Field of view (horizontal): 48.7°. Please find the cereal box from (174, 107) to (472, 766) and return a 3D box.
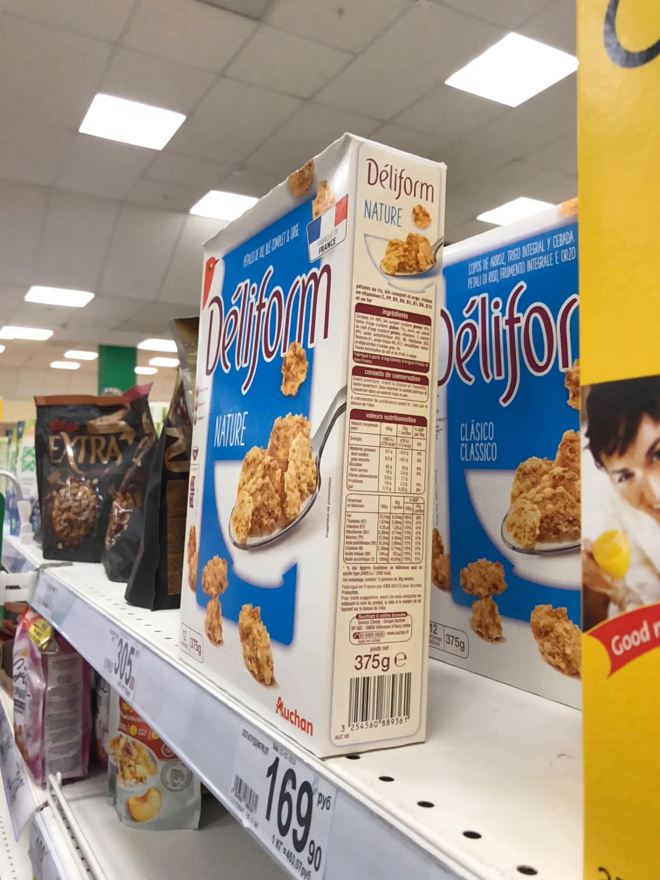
[{"bbox_3d":[-0.016,-0.001,0.400,0.060,0.270,0.200,5,-5,-30],"label":"cereal box"}]
